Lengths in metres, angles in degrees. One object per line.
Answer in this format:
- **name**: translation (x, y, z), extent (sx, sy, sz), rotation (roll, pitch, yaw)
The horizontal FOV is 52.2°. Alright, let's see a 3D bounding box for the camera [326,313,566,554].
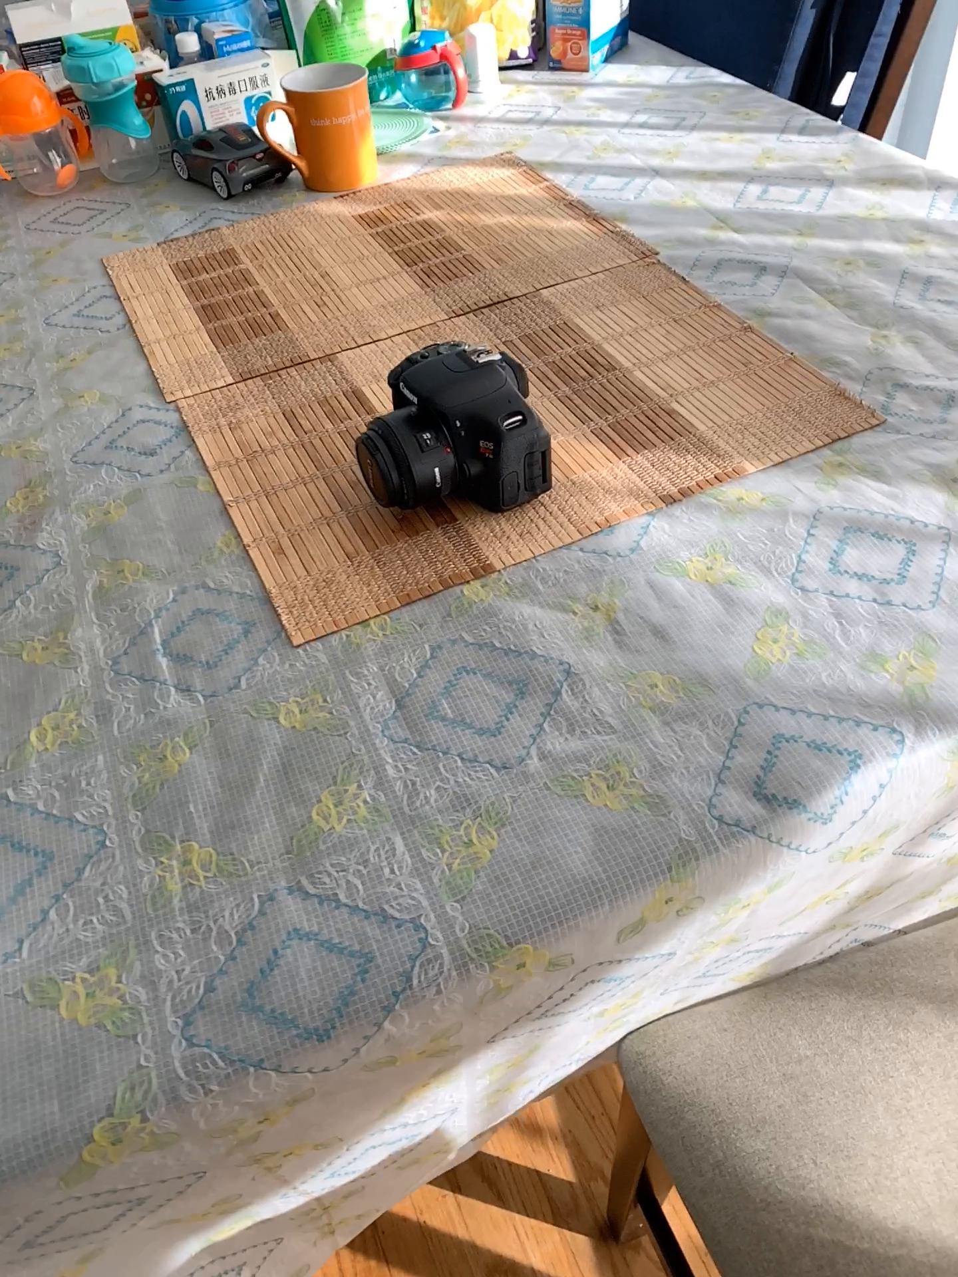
- **camera**: translation (-0.021, -0.143, 0.675), extent (0.125, 0.092, 0.100), rotation (-24, 48, -16)
